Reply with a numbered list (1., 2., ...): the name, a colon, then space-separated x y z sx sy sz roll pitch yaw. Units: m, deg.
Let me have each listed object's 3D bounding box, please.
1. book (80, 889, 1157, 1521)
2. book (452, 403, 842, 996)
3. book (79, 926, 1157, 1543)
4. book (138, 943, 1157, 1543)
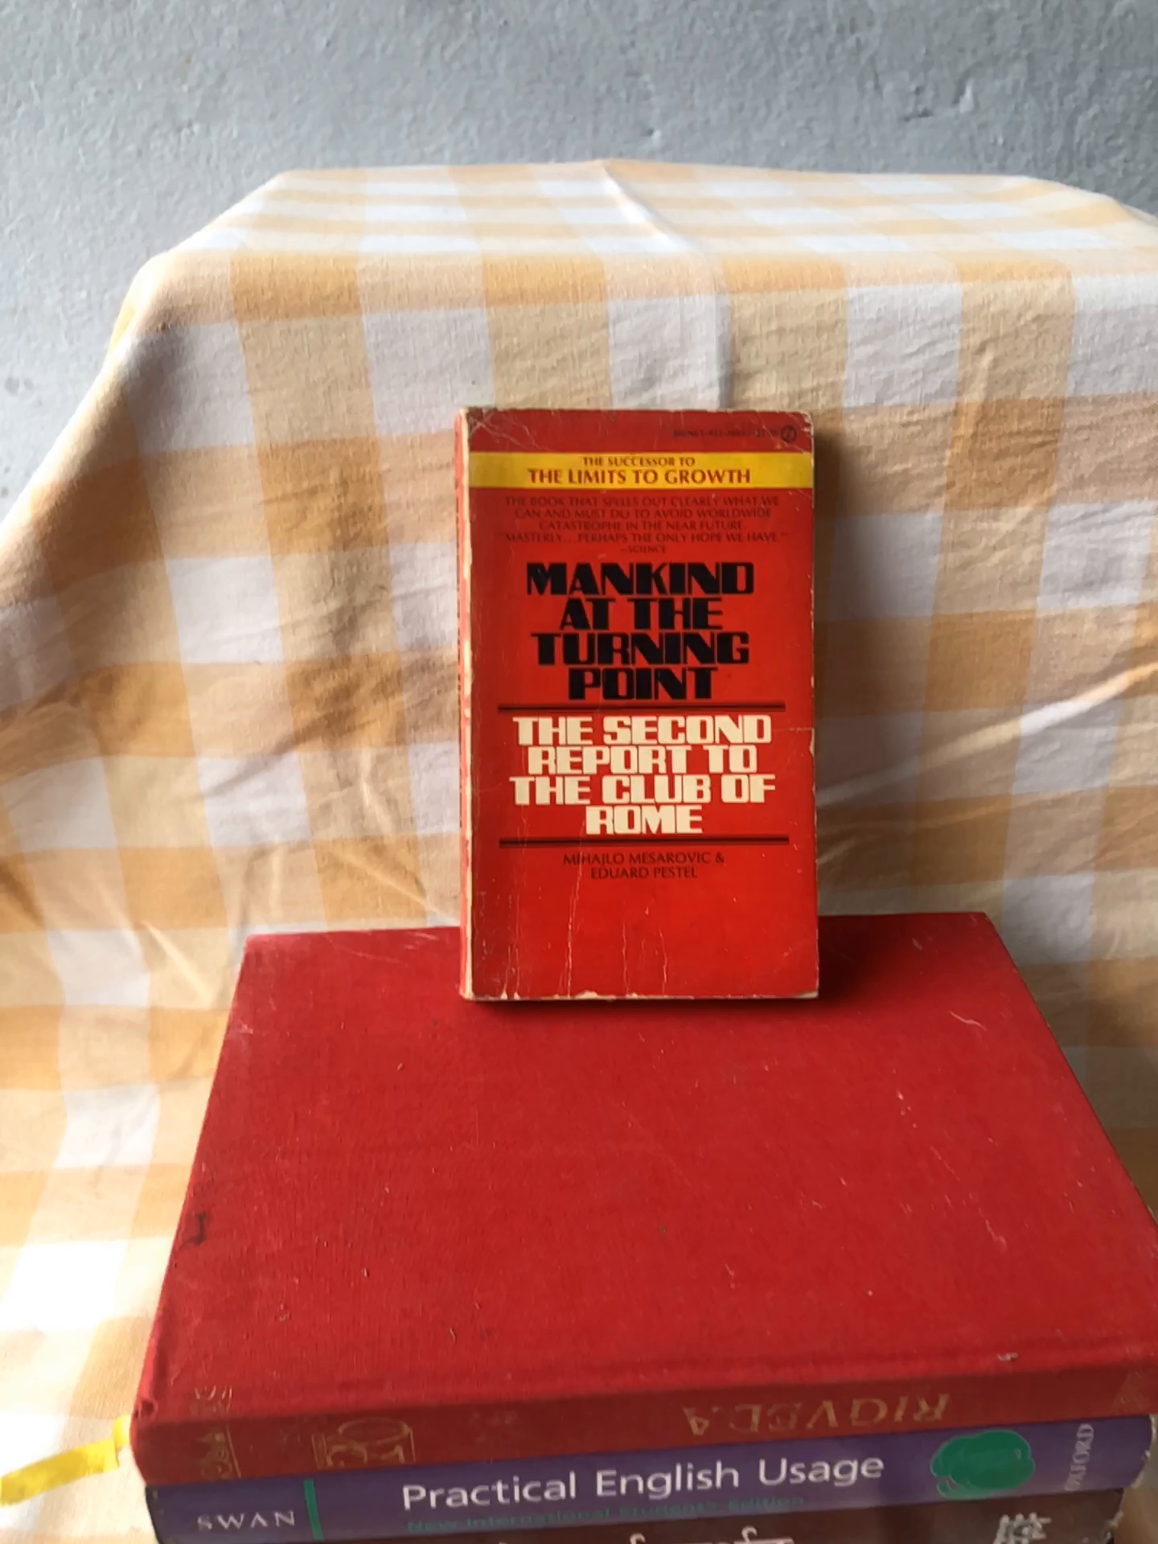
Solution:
1. book: 0.014 0.120 0.409 0.280 0.040 0.191 -4 32 -1
2. book: 0.019 -0.022 0.390 0.110 0.170 0.040 -1 6 -3
3. book: 0.010 0.133 0.406 0.270 0.040 0.191 -4 32 -1
4. book: 0.014 0.137 0.393 0.240 0.040 0.191 -4 32 -1
